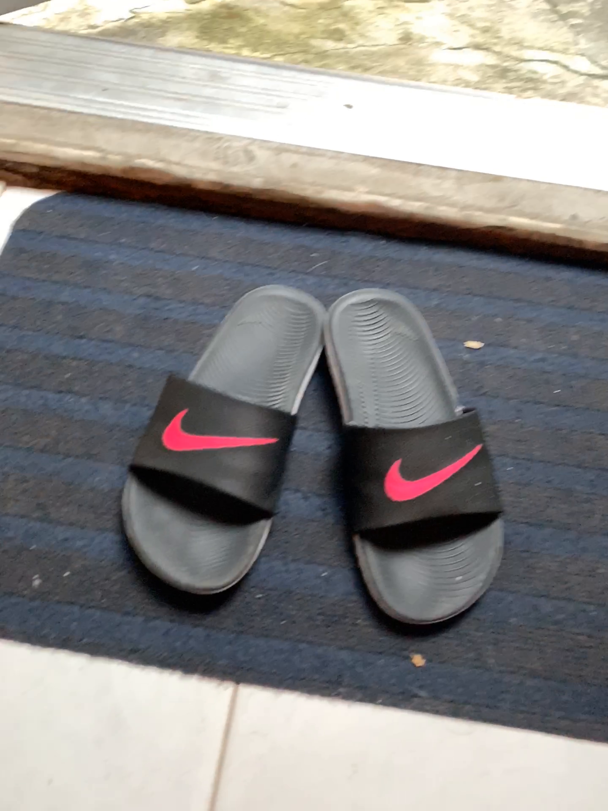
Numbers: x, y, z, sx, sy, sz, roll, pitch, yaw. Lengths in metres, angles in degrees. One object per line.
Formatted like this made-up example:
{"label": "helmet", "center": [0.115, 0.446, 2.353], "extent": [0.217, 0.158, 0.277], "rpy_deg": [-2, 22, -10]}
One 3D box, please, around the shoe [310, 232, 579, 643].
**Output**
{"label": "shoe", "center": [0.072, 0.010, 0.400], "extent": [0.099, 0.078, 0.251], "rpy_deg": [-5, 60, -6]}

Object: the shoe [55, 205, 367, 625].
{"label": "shoe", "center": [-0.043, -0.006, 0.401], "extent": [0.099, 0.078, 0.251], "rpy_deg": [17, 60, 6]}
